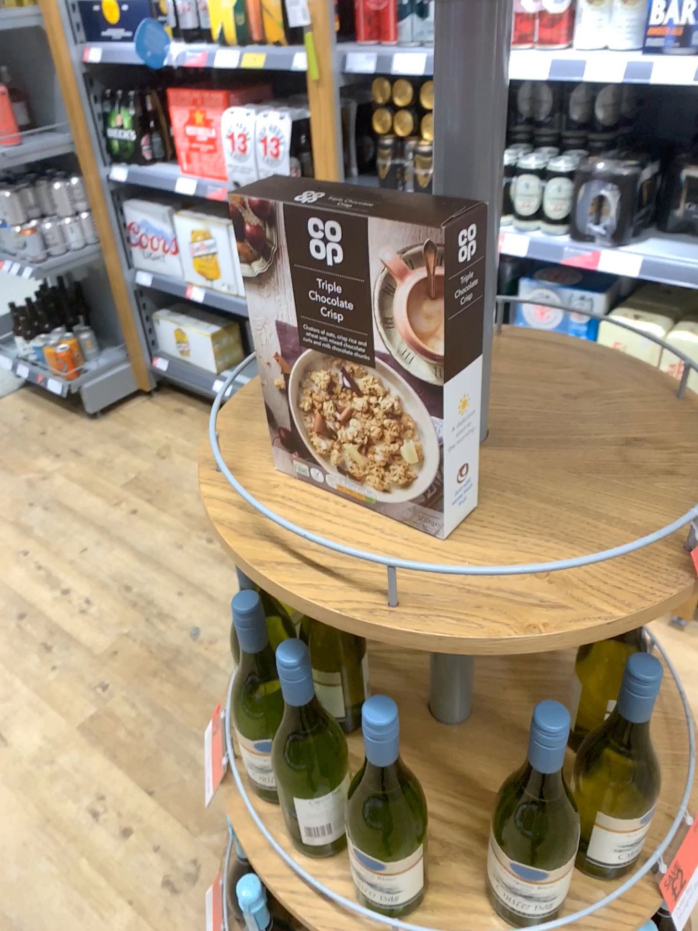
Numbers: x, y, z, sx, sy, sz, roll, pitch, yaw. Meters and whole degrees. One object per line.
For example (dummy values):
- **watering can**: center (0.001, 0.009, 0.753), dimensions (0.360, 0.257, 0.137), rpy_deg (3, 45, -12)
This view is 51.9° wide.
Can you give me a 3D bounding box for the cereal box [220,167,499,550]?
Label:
- **cereal box**: center (0.009, -0.078, 0.538), dimensions (0.191, 0.248, 0.050), rpy_deg (22, 44, 32)
